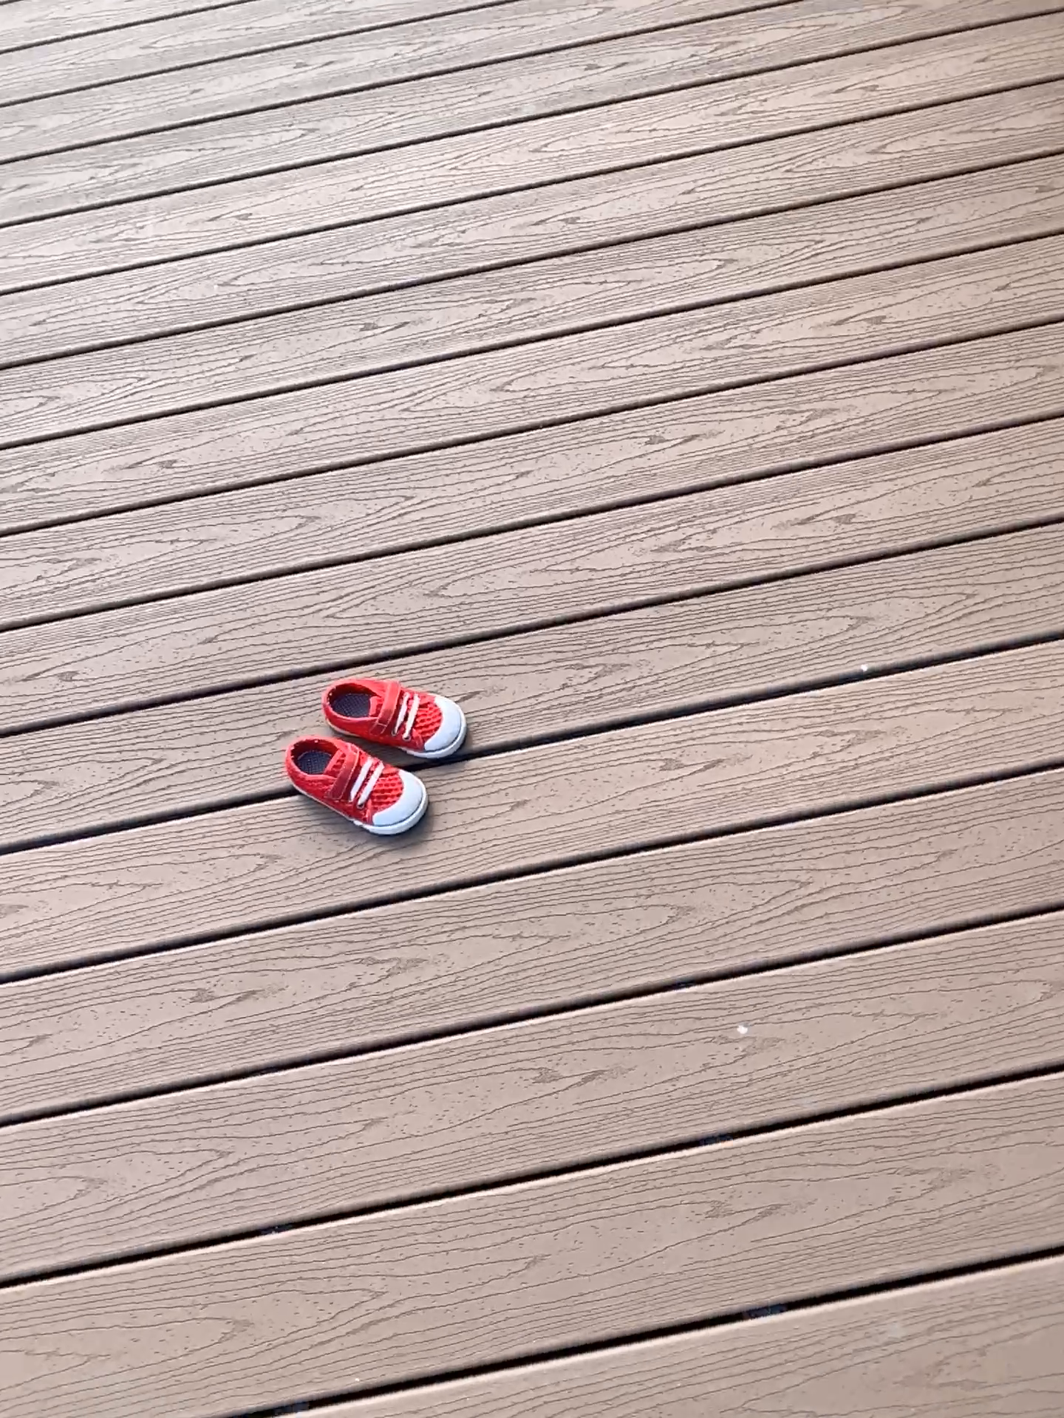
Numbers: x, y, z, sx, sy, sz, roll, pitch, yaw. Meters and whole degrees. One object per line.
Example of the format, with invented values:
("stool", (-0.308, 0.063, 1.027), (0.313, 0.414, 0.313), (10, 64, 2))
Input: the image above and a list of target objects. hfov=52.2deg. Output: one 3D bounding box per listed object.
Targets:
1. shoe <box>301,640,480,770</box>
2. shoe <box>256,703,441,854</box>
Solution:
("shoe", (-0.165, -0.005, 1.275), (0.180, 0.060, 0.090), (17, 67, 13))
("shoe", (-0.207, 0.078, 1.235), (0.180, 0.060, 0.090), (24, 69, 16))
